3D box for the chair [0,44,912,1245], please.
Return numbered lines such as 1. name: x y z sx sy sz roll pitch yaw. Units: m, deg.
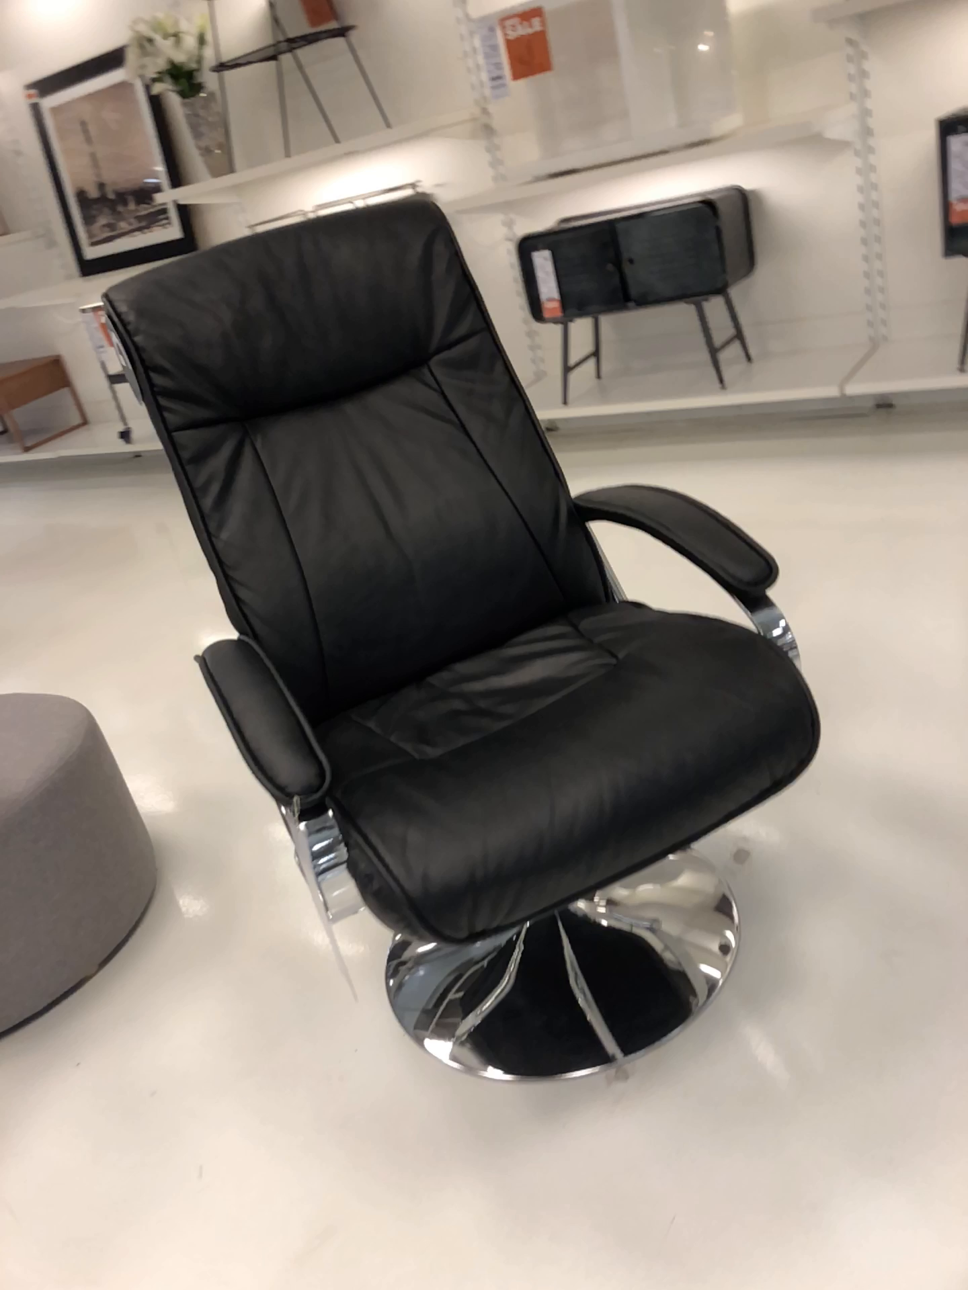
1. chair: -0.012 -0.046 1.448 0.751 1.132 0.724 -25 26 -21
